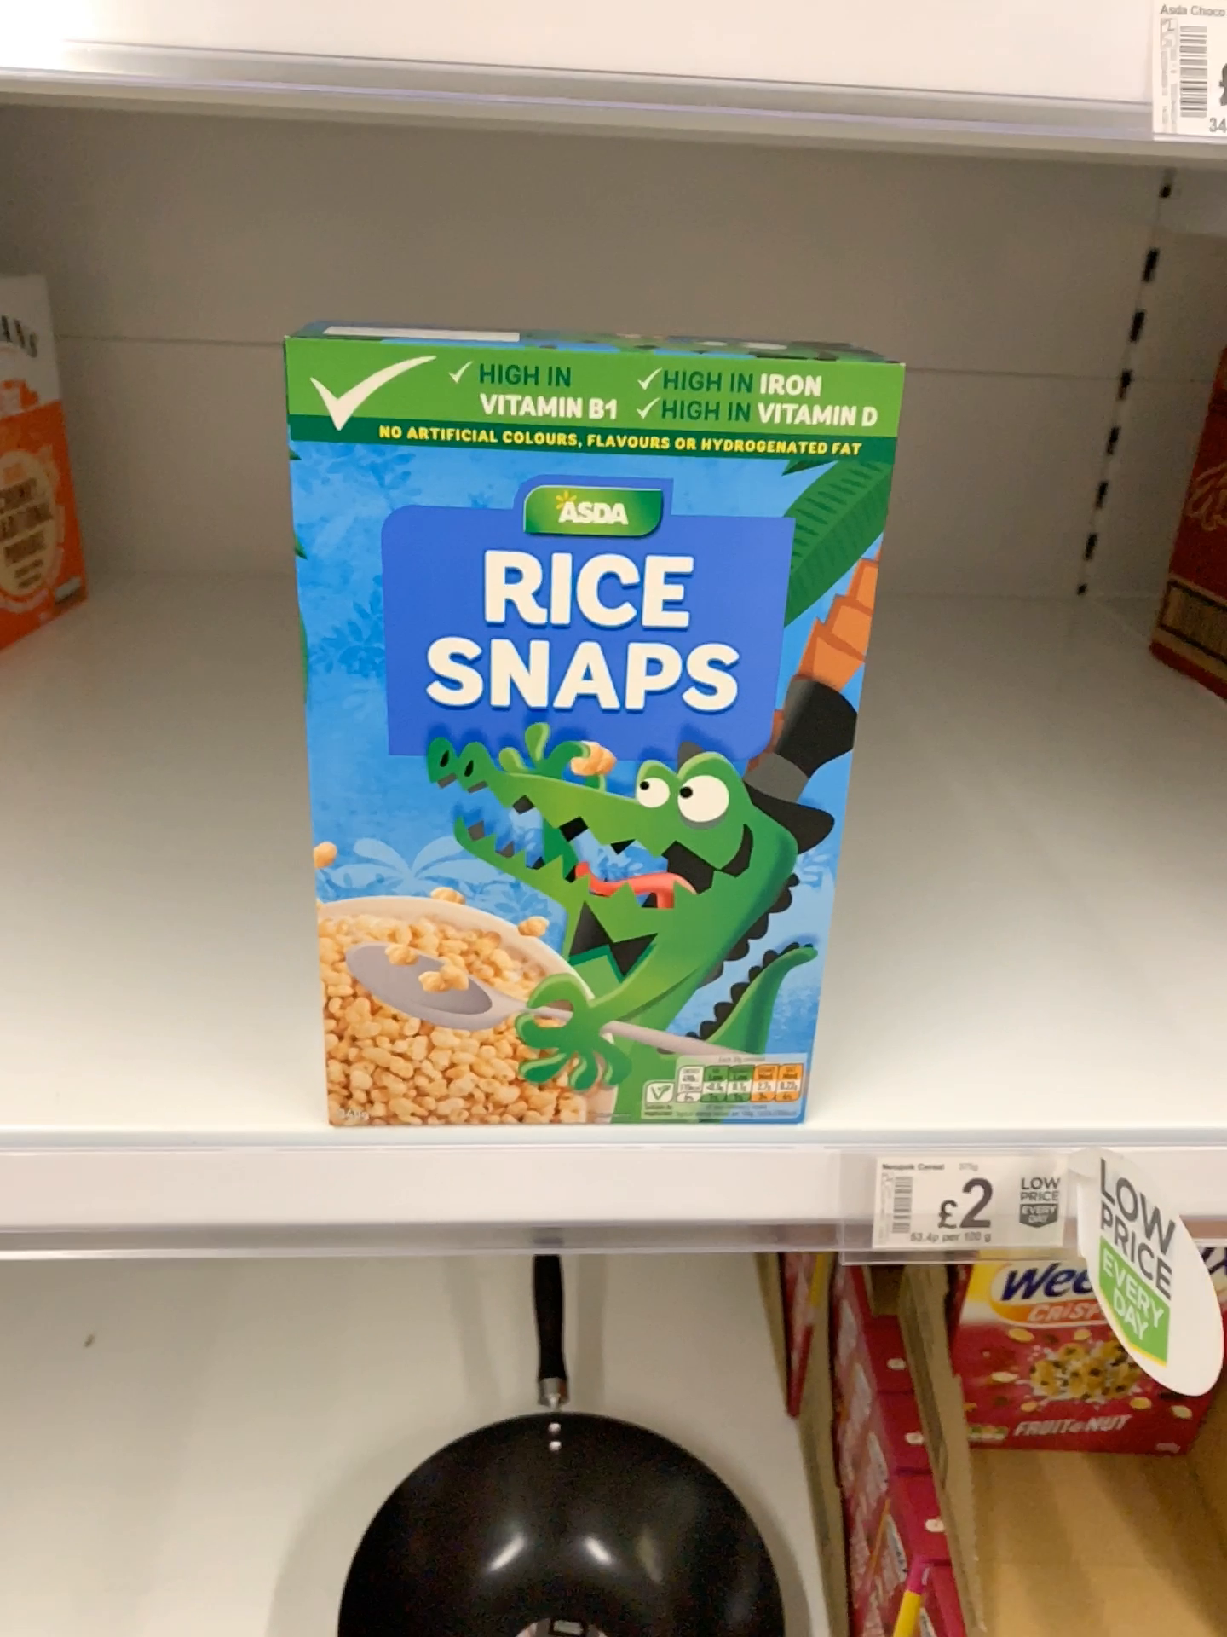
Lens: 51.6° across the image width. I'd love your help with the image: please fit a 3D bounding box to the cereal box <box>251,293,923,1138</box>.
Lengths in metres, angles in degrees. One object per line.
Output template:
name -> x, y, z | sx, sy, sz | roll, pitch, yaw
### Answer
cereal box -> -0.015, -0.025, 0.453 | 0.190, 0.287, 0.071 | 0, 26, -6
